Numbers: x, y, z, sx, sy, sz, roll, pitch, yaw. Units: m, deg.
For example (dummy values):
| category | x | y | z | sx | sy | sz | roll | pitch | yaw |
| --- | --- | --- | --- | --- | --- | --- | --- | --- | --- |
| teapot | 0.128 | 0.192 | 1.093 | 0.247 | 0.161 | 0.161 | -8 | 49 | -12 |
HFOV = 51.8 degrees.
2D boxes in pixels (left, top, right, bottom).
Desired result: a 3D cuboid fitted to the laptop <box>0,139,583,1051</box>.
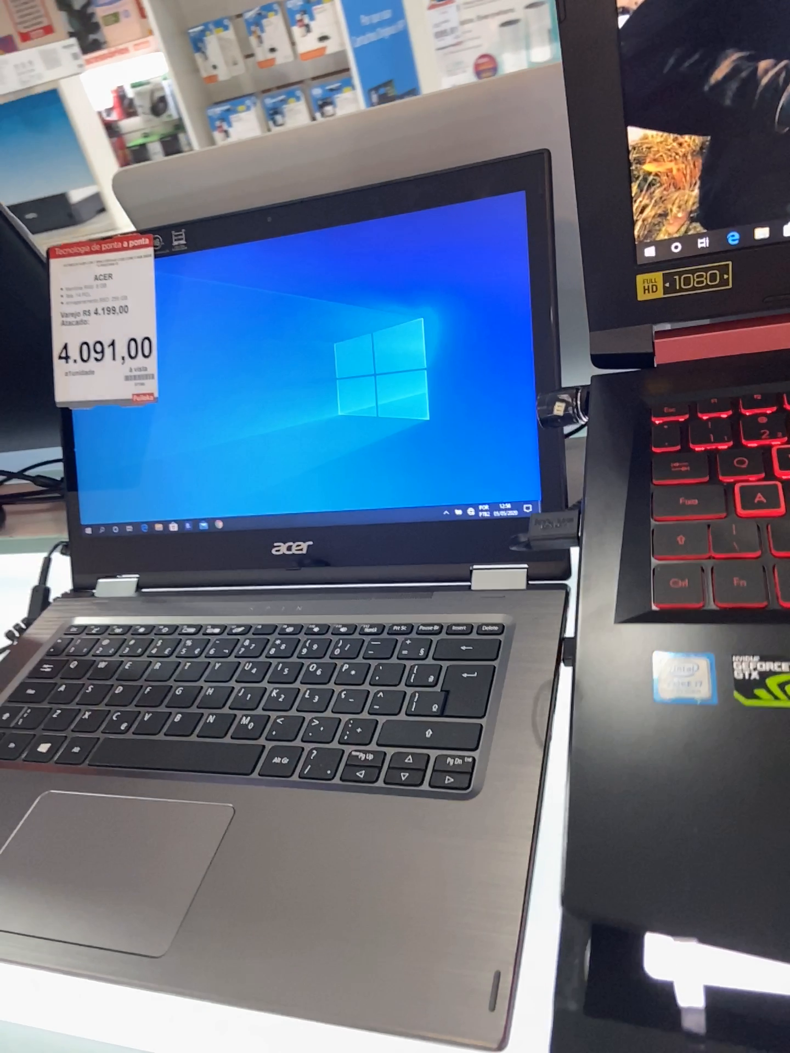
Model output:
| category | x | y | z | sx | sy | sz | roll | pitch | yaw |
| --- | --- | --- | --- | --- | --- | --- | --- | --- | --- |
| laptop | -0.099 | -0.014 | 0.394 | 0.328 | 0.187 | 0.358 | -3 | 35 | 20 |
